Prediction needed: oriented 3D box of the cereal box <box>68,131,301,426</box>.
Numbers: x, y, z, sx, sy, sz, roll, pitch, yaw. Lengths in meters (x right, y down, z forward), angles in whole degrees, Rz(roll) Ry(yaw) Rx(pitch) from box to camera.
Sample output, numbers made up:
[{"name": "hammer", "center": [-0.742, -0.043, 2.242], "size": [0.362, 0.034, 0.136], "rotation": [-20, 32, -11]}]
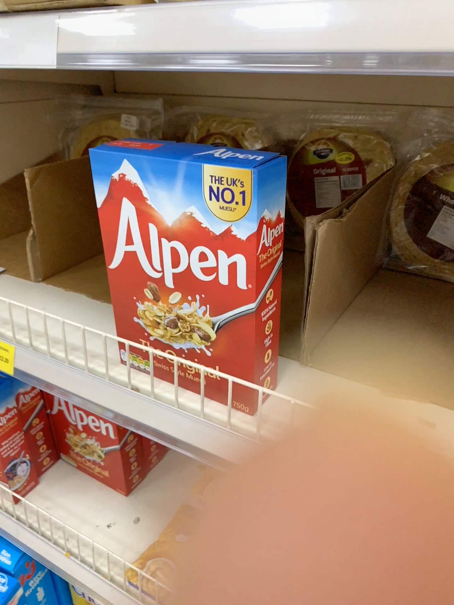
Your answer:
[{"name": "cereal box", "center": [-0.040, -0.028, 0.448], "size": [0.190, 0.238, 0.070], "rotation": [15, 30, 27]}]
